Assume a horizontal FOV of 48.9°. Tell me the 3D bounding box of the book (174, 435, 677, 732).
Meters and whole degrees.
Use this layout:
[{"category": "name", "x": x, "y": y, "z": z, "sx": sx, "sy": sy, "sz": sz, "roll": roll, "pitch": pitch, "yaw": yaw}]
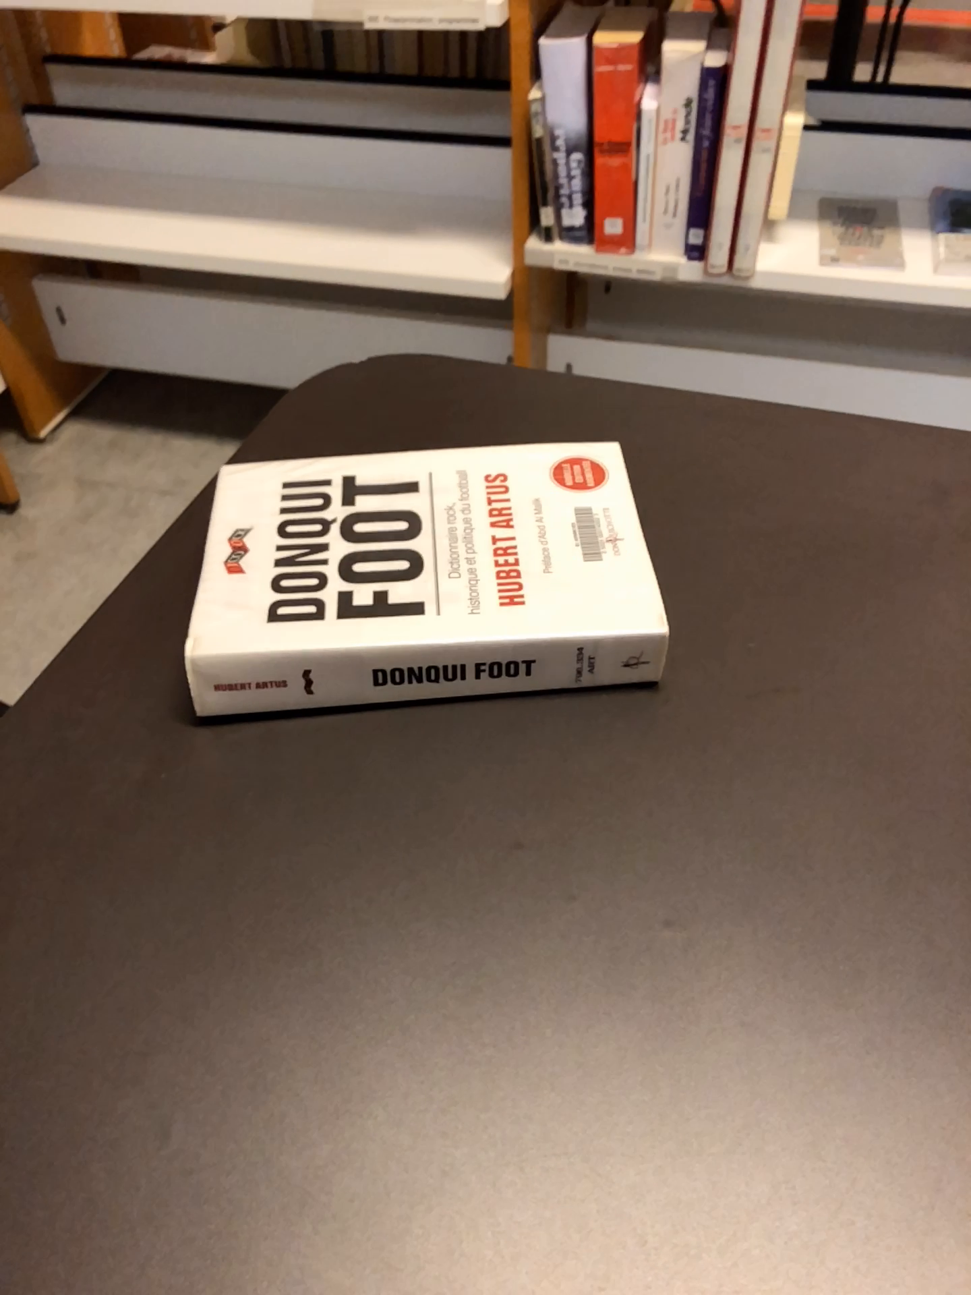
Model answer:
[{"category": "book", "x": -0.029, "y": -0.037, "z": 0.507, "sx": 0.207, "sy": 0.042, "sz": 0.148, "roll": -4, "pitch": 44, "yaw": -3}]
